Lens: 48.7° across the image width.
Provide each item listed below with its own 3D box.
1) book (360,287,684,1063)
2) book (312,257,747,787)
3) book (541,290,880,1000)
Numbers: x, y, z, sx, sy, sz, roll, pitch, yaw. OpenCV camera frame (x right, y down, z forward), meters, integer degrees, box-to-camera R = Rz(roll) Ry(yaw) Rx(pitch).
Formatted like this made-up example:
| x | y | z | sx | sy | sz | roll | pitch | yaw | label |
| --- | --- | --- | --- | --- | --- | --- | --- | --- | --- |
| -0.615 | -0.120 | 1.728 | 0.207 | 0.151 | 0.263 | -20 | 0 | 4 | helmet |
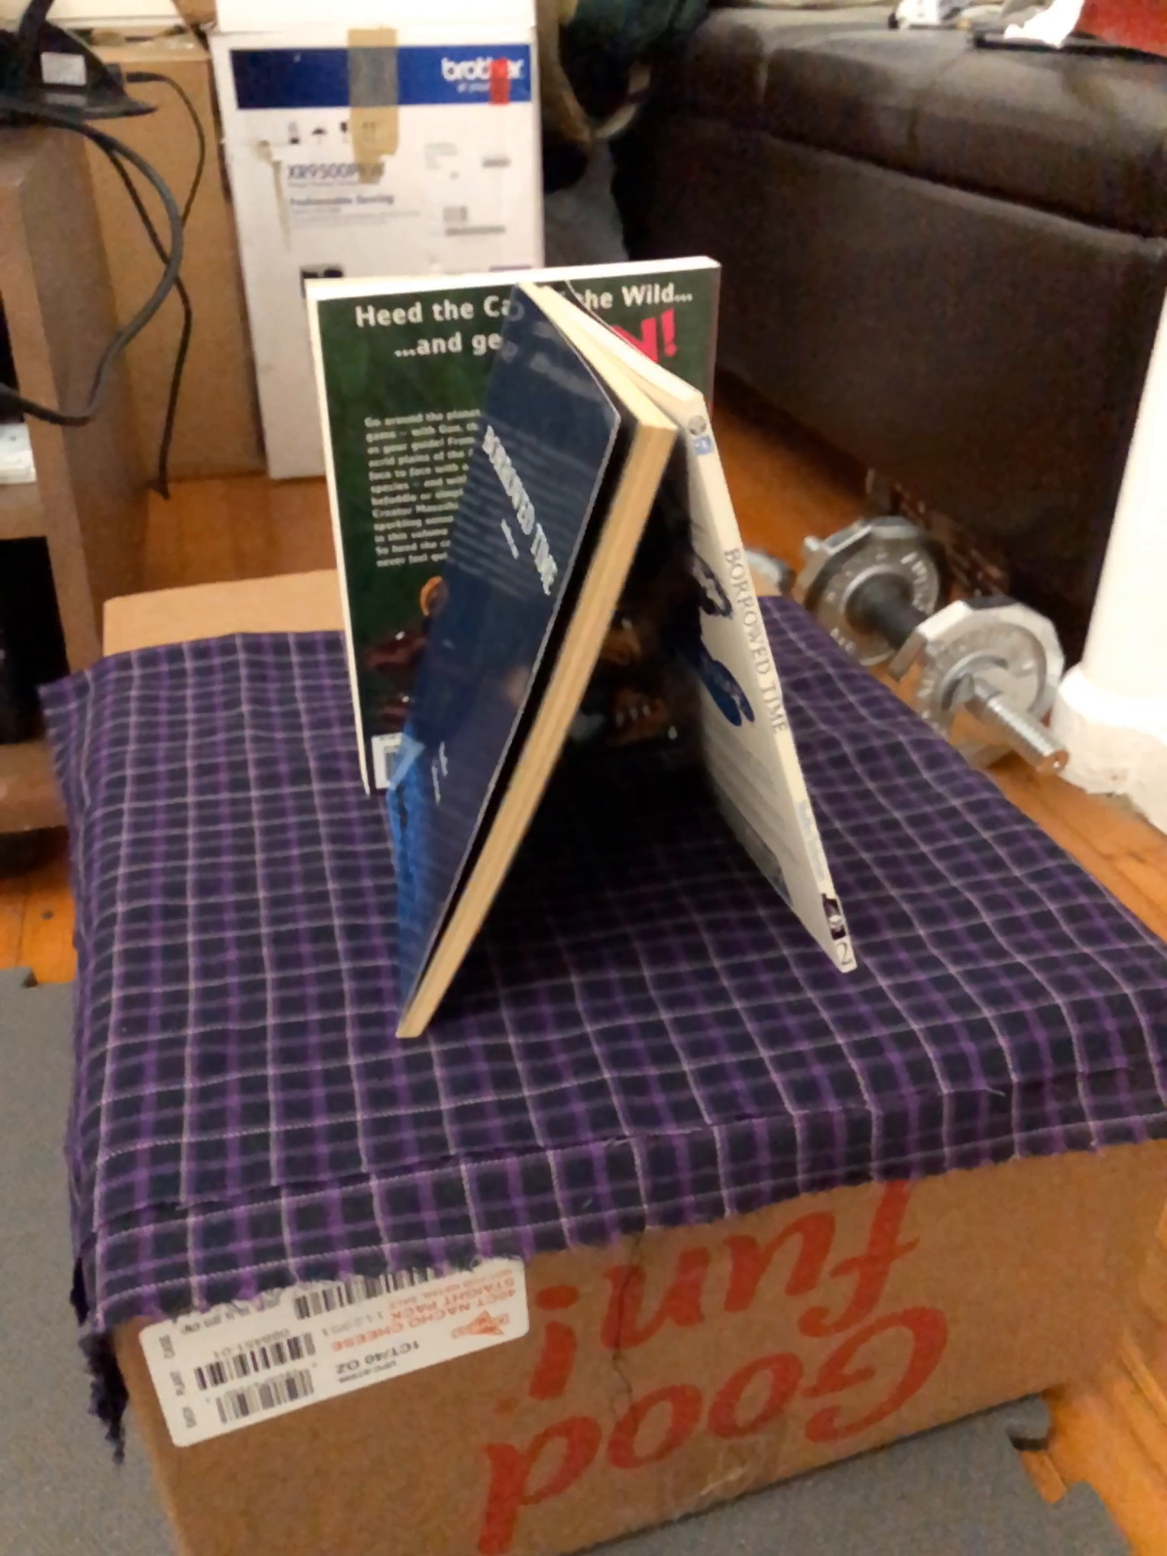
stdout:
| x | y | z | sx | sy | sz | roll | pitch | yaw | label |
| --- | --- | --- | --- | --- | --- | --- | --- | --- | --- |
| -0.032 | -0.037 | 0.406 | 0.010 | 0.199 | 0.151 | 12 | 28 | -22 | book |
| -0.020 | -0.088 | 0.475 | 0.140 | 0.189 | 0.020 | -9 | 39 | -15 | book |
| 0.040 | -0.043 | 0.412 | 0.010 | 0.199 | 0.141 | -24 | 34 | -3 | book |
